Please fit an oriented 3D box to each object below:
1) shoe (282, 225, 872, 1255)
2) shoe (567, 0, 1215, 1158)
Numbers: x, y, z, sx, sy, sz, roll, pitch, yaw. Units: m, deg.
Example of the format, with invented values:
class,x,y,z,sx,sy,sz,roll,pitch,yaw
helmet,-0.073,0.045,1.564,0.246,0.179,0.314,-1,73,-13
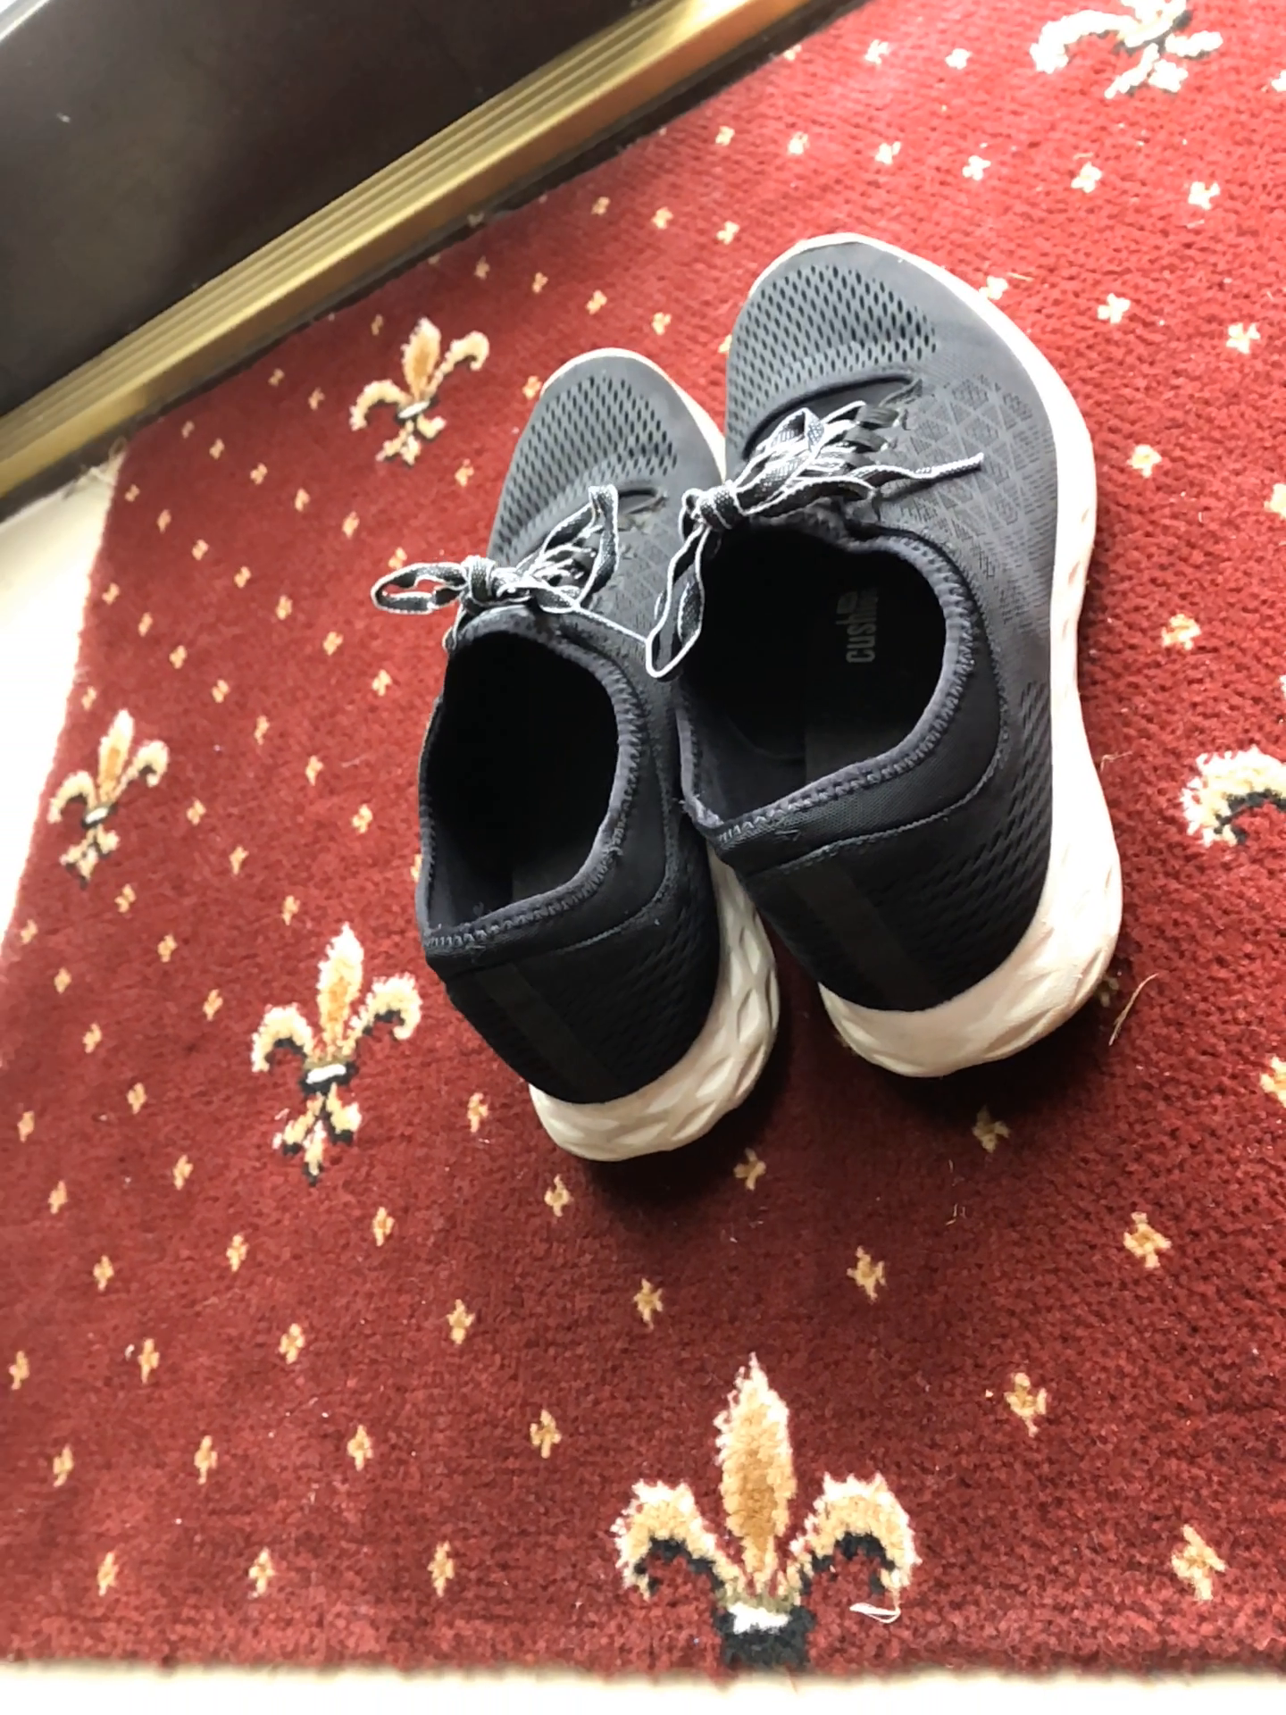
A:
class,x,y,z,sx,sy,sz,roll,pitch,yaw
shoe,-0.015,-0.038,0.423,0.100,0.109,0.271,-20,54,27
shoe,0.059,-0.076,0.374,0.100,0.109,0.271,-18,54,29
